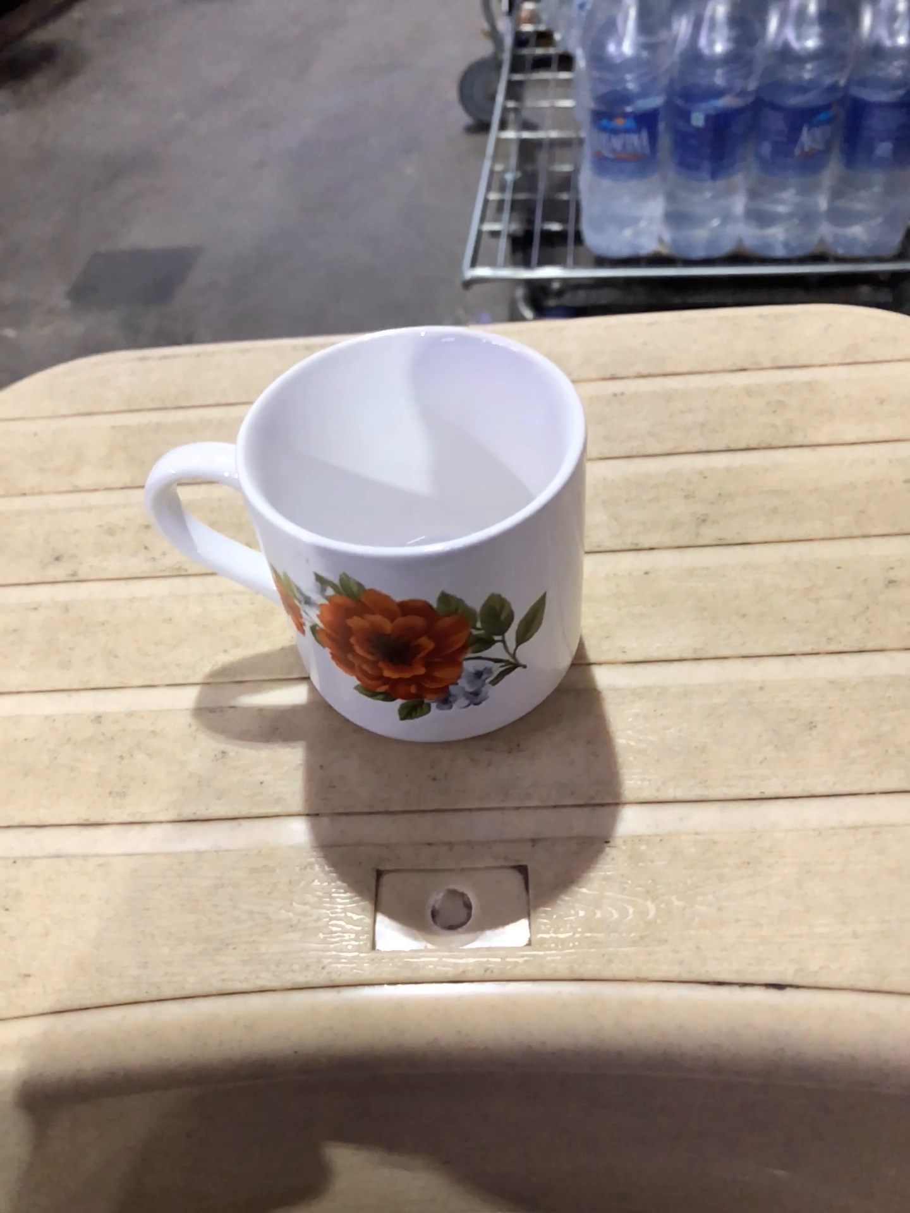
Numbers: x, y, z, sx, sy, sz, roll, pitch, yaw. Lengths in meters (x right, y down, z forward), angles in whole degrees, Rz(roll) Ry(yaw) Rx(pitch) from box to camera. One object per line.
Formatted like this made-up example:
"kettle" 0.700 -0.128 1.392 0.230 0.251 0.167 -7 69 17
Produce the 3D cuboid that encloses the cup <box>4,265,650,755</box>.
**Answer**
"cup" -0.015 -0.020 0.198 0.100 0.060 0.070 2 48 8
